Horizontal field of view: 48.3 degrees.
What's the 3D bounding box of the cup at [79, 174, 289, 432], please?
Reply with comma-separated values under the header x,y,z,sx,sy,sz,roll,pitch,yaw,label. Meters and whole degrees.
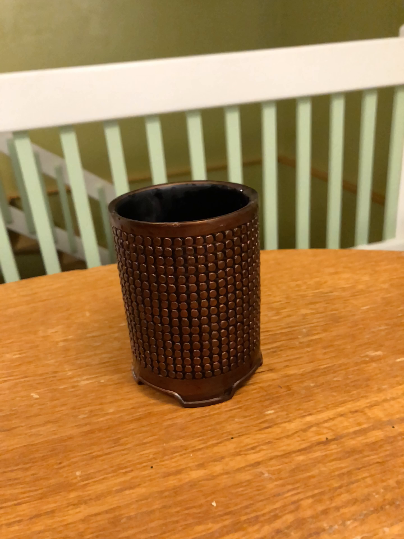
x,y,z,sx,sy,sz,roll,pitch,yaw,label
-0.008,0.010,0.240,0.073,0.097,0.078,-4,24,2,cup
